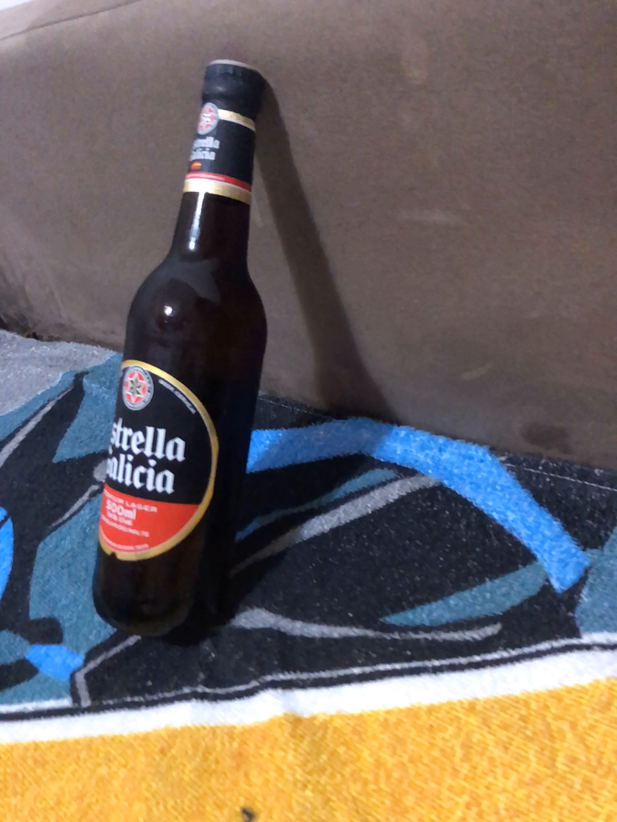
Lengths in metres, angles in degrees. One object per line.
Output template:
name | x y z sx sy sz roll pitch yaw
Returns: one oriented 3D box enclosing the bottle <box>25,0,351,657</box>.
bottle | -0.060 -0.036 0.328 0.080 0.270 0.080 10 5 -1
